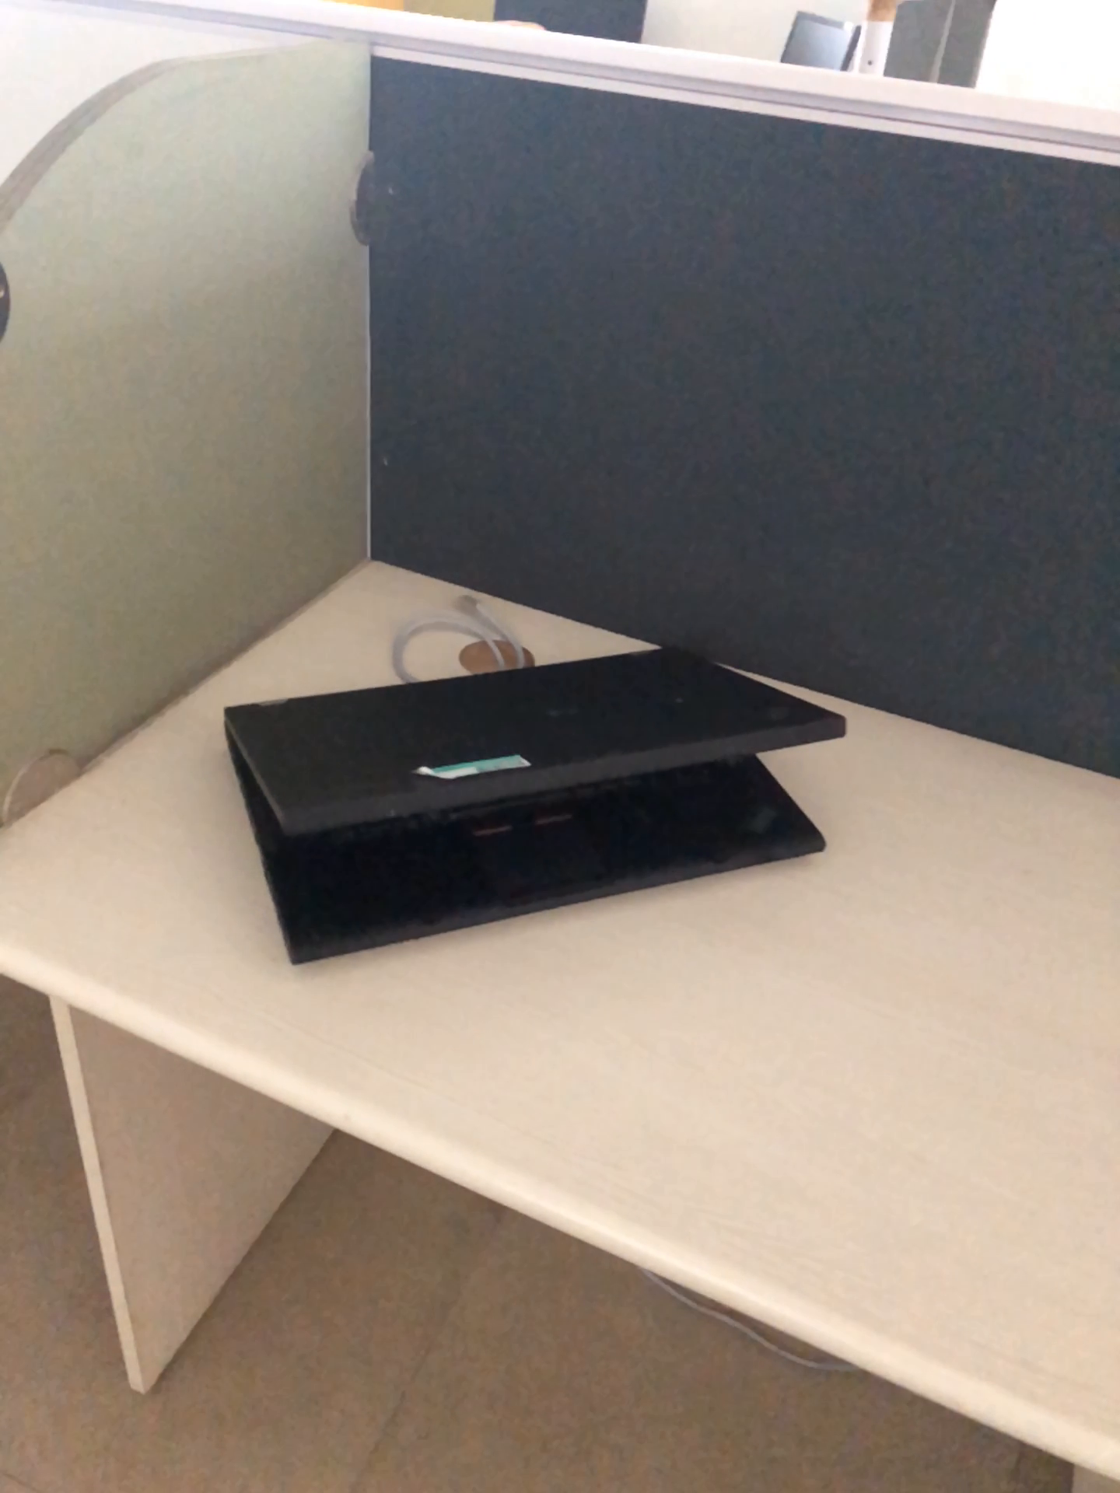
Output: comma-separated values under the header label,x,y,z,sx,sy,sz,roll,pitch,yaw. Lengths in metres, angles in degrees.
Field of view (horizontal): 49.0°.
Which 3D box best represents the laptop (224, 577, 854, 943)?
label,x,y,z,sx,sy,sz,roll,pitch,yaw
laptop,-0.023,-0.010,0.845,0.364,0.077,0.236,-9,38,-21
